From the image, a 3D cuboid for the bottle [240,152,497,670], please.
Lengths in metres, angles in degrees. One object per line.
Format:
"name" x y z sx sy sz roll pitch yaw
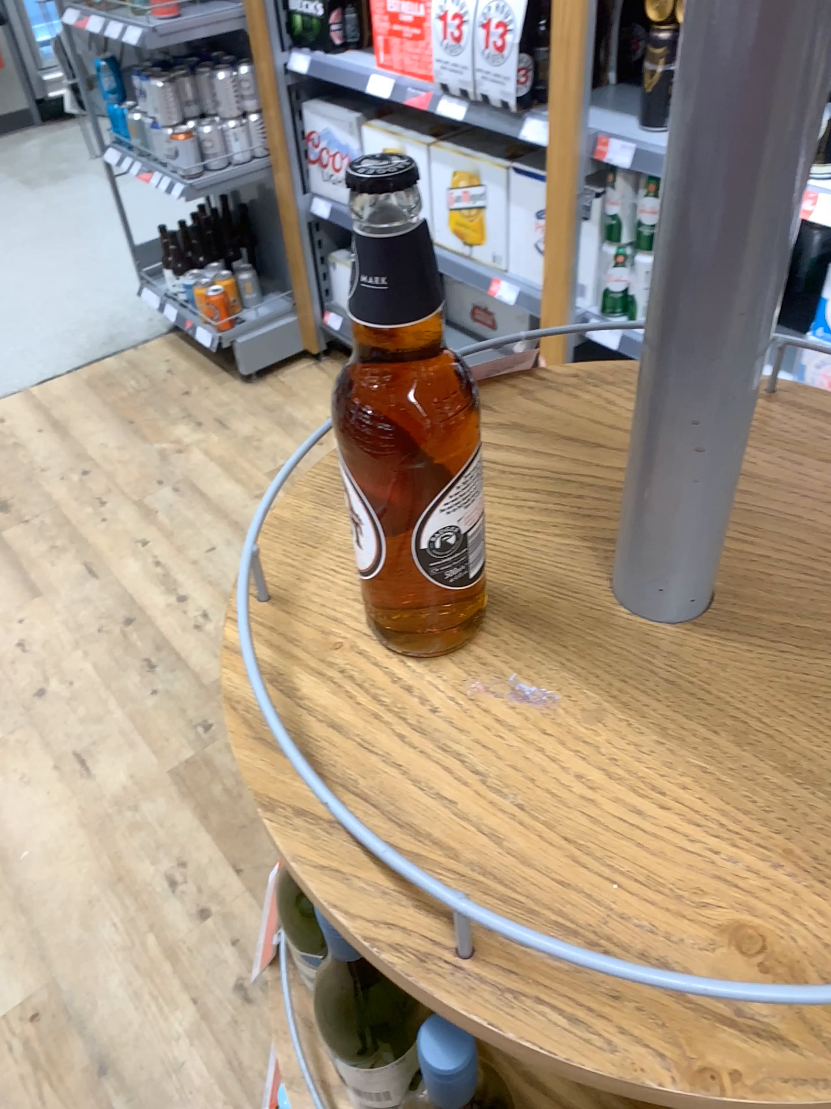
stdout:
"bottle" -0.008 -0.054 0.400 0.076 0.231 0.069 -3 42 3
